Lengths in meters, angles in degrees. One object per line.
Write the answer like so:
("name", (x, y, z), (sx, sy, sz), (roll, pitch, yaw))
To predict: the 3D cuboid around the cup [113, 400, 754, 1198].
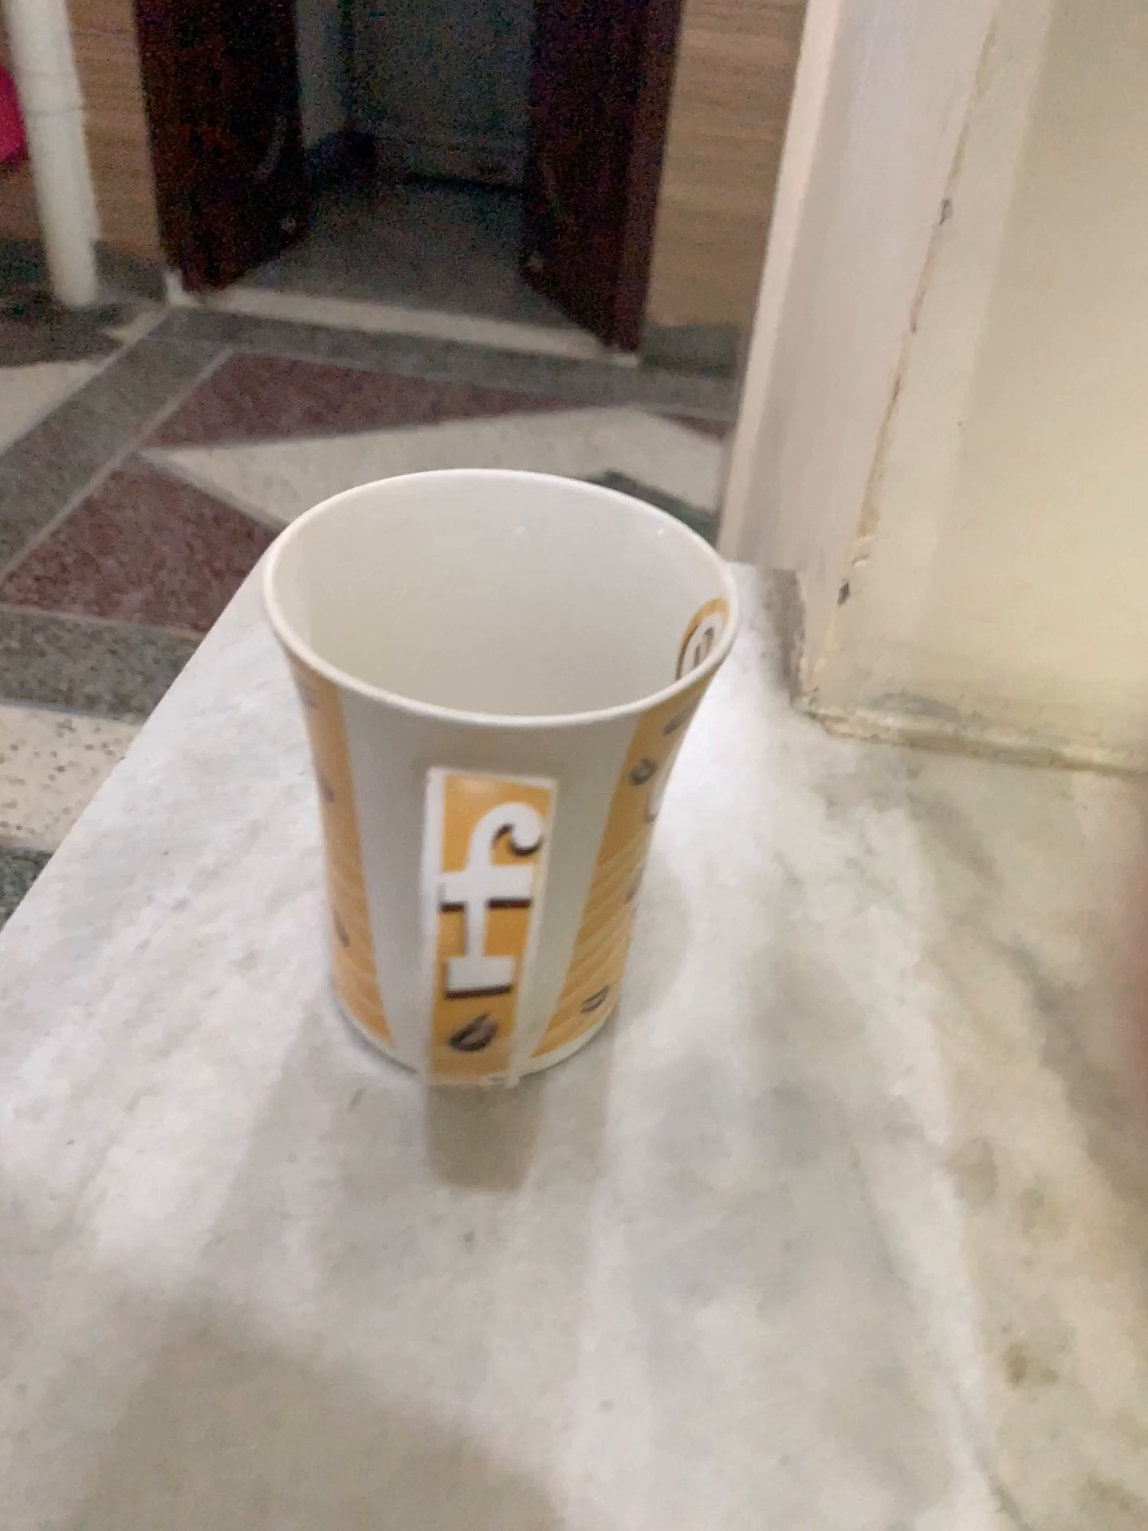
("cup", (-0.022, 0.004, 0.219), (0.080, 0.100, 0.100), (5, 39, -4))
